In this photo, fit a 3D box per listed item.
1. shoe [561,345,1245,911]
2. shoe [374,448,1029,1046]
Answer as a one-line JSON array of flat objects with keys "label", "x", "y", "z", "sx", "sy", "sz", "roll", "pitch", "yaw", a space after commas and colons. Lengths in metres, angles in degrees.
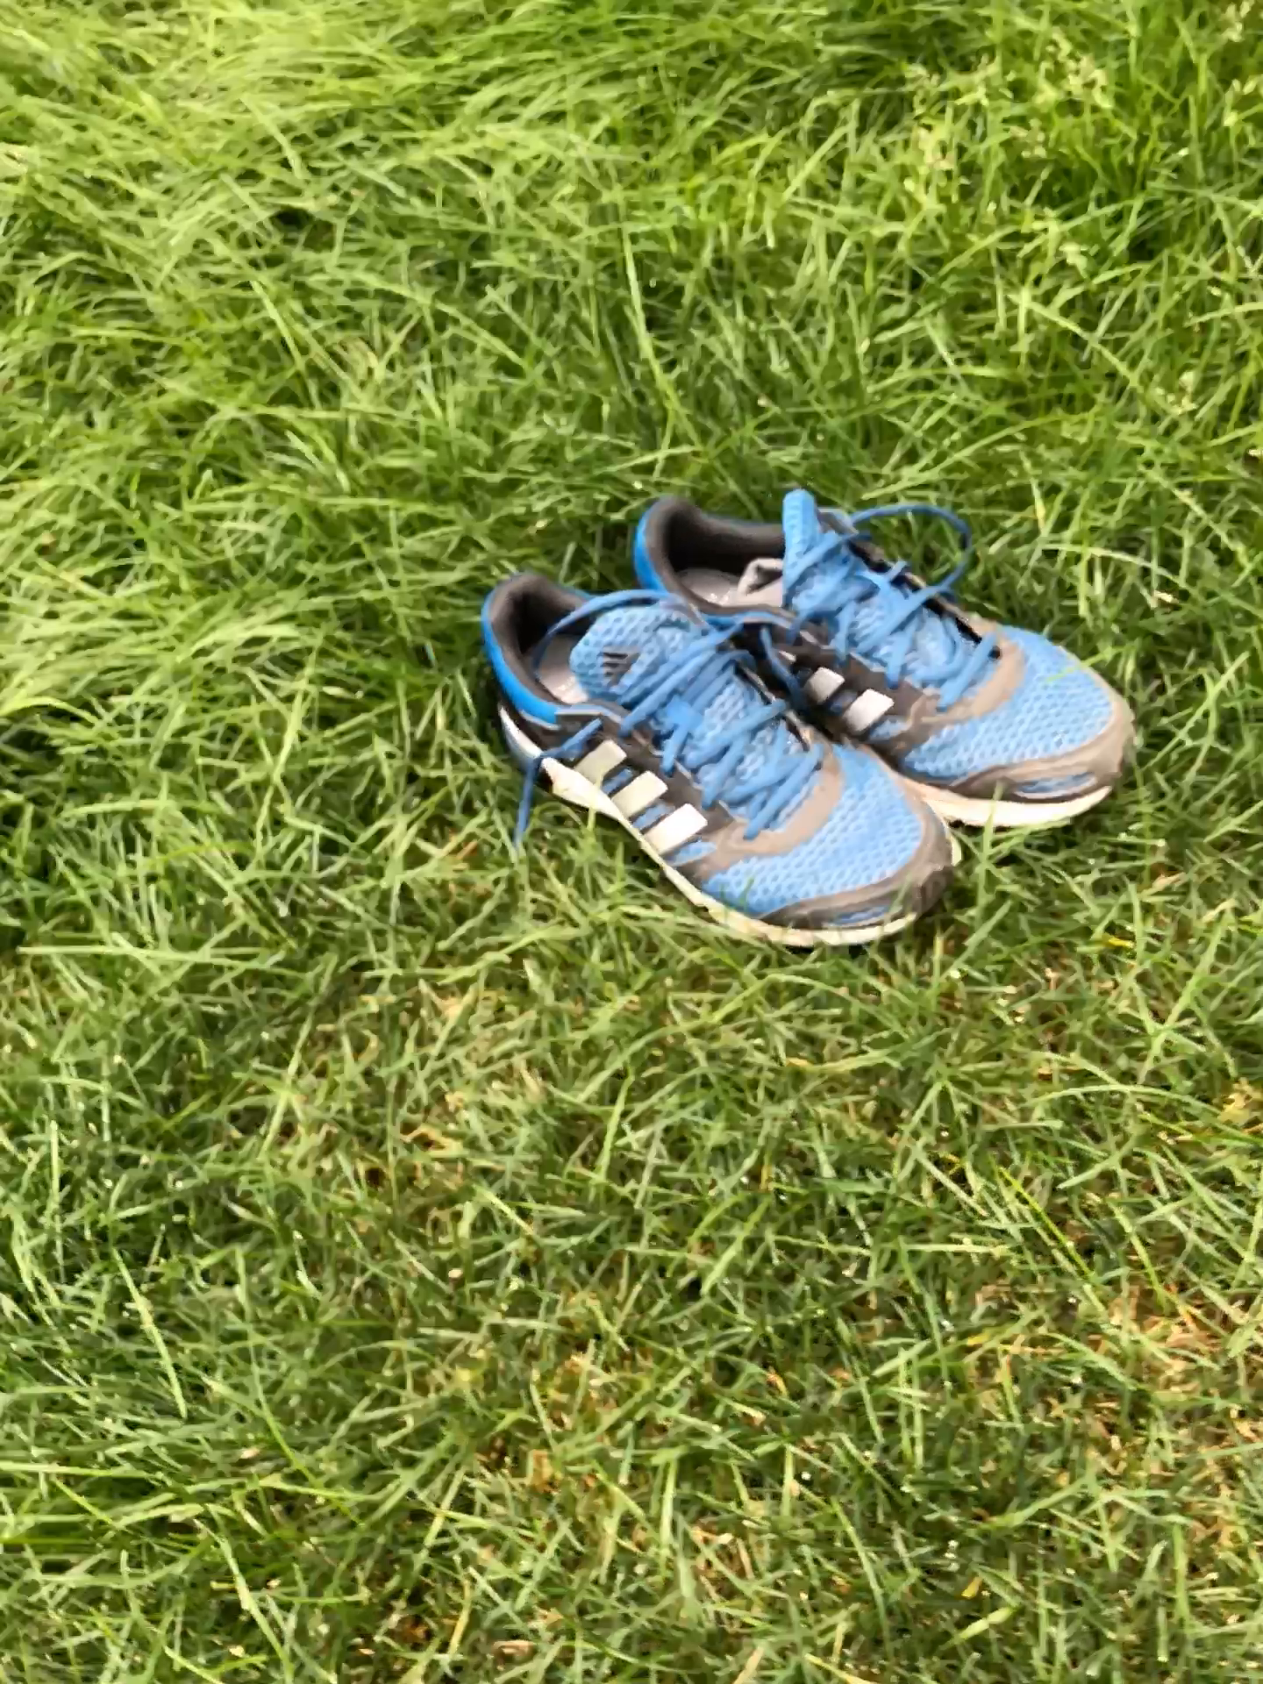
[{"label": "shoe", "x": 0.122, "y": -0.105, "z": 0.689, "sx": 0.280, "sy": 0.120, "sz": 0.120, "roll": 31, "pitch": 75, "yaw": 19}, {"label": "shoe", "x": 0.031, "y": -0.046, "z": 0.669, "sx": 0.270, "sy": 0.120, "sz": 0.120, "roll": 36, "pitch": 77, "yaw": 20}]
